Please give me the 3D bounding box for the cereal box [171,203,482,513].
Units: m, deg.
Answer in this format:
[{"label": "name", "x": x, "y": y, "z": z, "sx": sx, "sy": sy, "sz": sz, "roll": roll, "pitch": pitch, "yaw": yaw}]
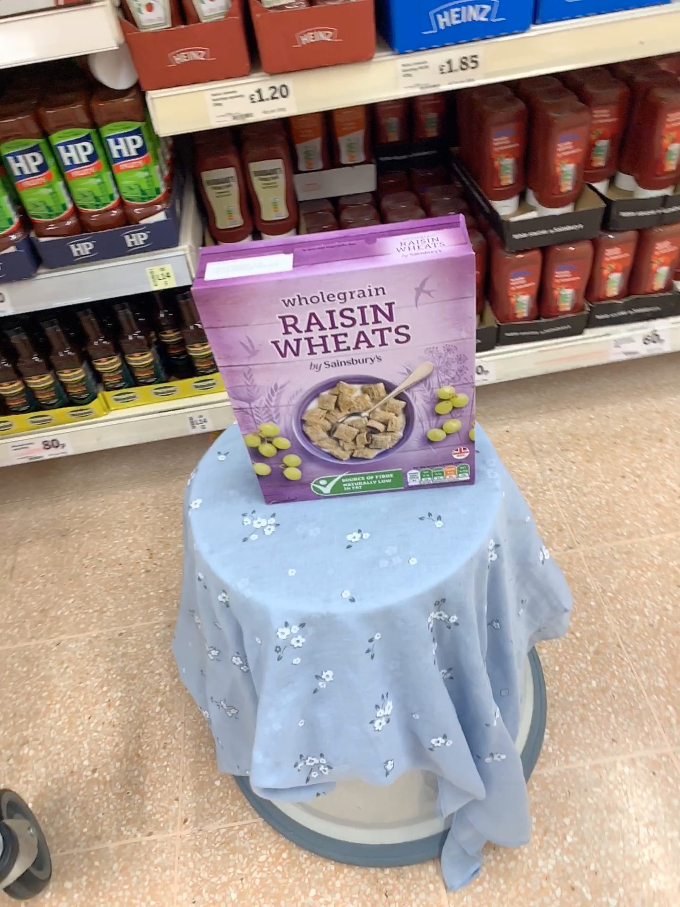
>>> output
[{"label": "cereal box", "x": 0.003, "y": -0.060, "z": 0.549, "sx": 0.200, "sy": 0.238, "sz": 0.061, "roll": -5, "pitch": 46, "yaw": 4}]
